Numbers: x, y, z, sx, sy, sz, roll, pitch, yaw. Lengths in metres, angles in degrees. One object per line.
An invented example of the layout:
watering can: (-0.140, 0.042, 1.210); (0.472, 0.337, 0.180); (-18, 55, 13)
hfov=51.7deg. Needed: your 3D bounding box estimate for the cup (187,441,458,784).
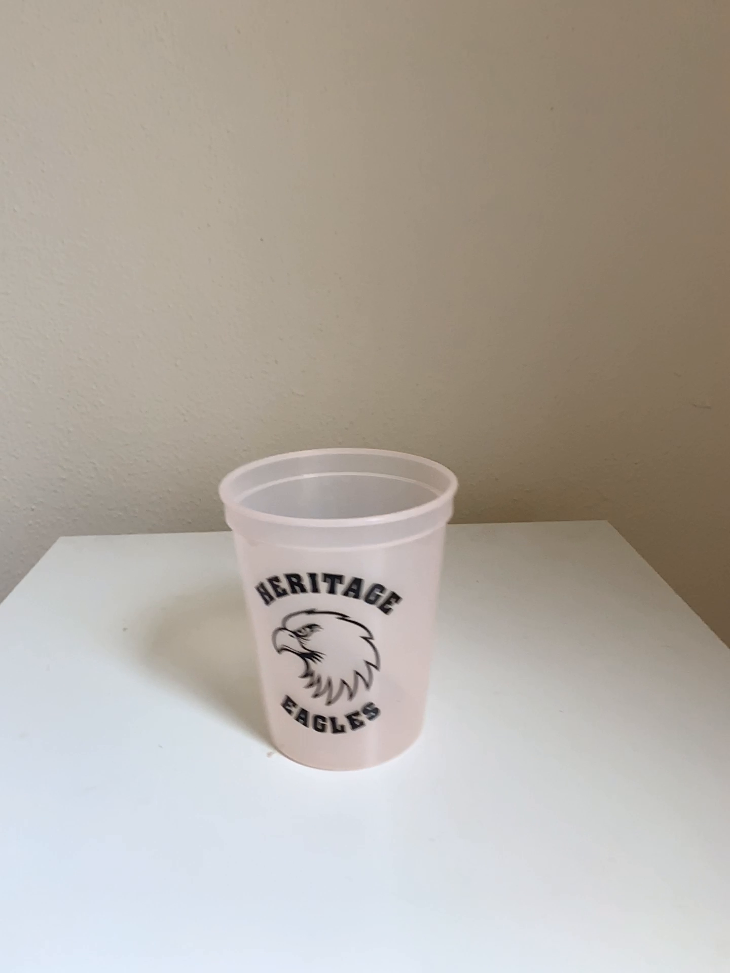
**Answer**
cup: (-0.011, 0.046, 0.314); (0.090, 0.110, 0.080); (2, 18, 11)
